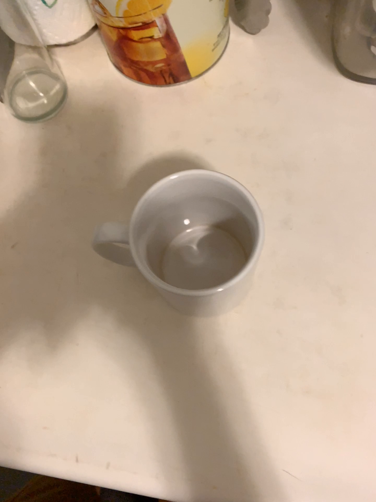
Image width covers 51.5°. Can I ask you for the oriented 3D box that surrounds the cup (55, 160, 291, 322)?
[{"bbox_3d":[-0.005,0.001,0.296,0.140,0.110,0.090,0,73,5],"label":"cup"}]
